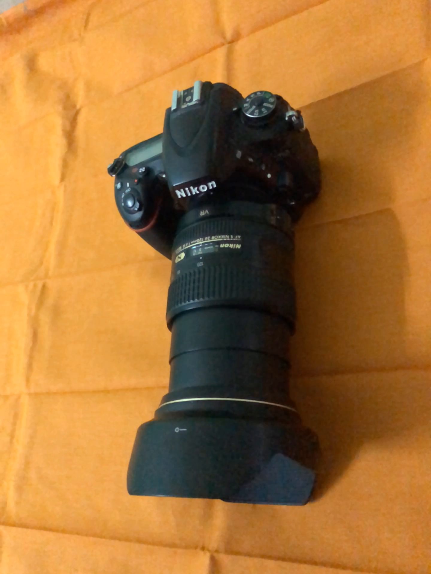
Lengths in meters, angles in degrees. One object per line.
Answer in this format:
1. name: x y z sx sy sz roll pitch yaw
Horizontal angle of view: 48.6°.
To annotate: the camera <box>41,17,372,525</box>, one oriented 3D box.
1. camera: 0.002 -0.002 0.302 0.131 0.120 0.264 -12 64 27
